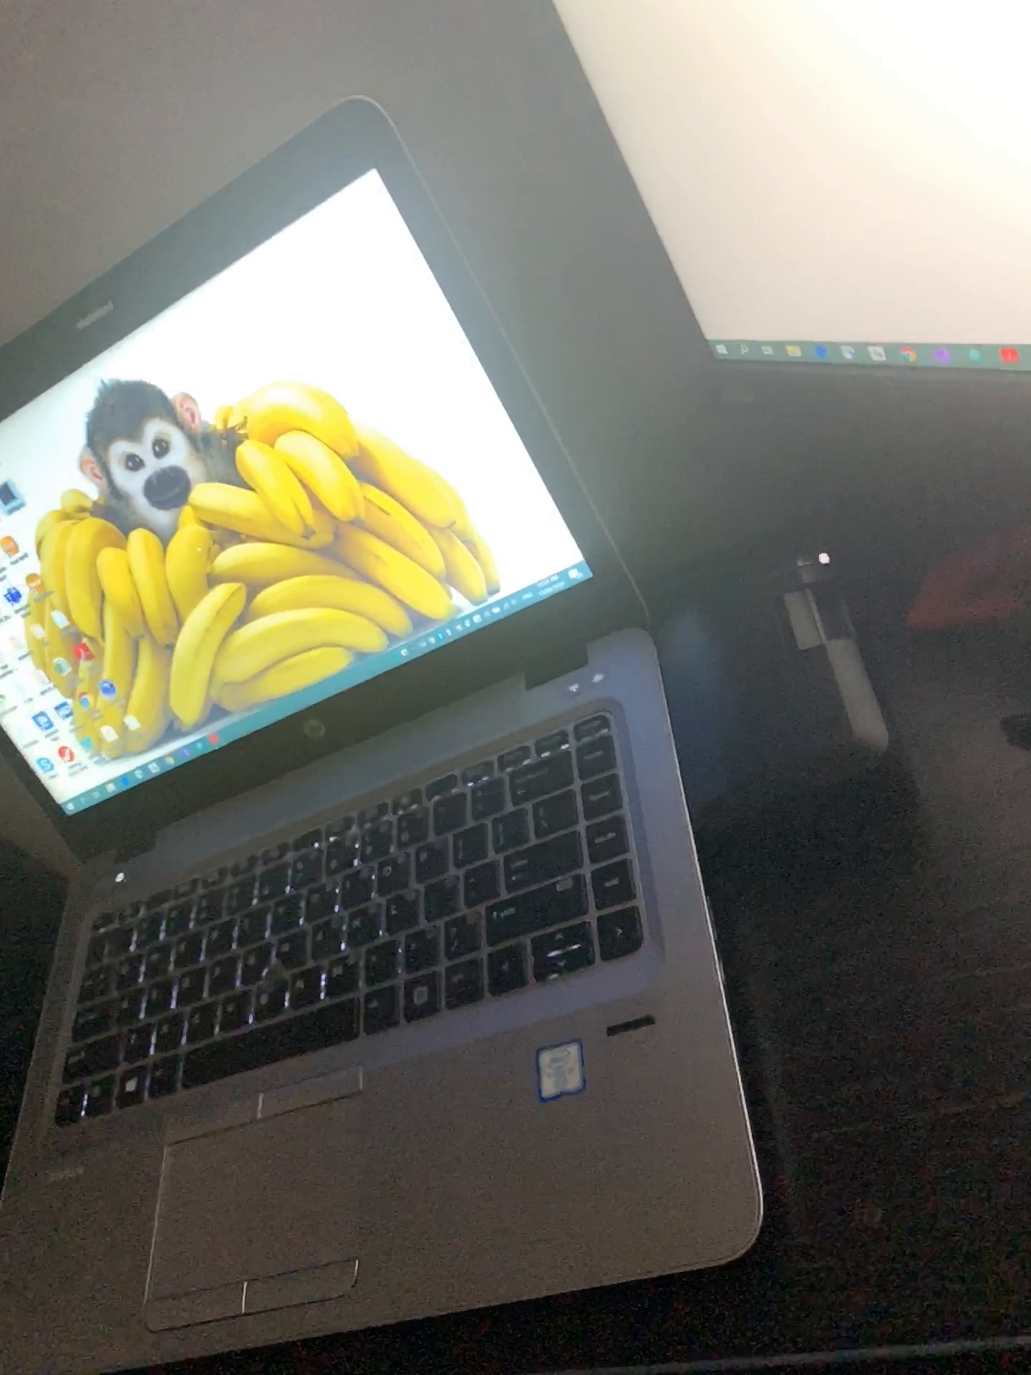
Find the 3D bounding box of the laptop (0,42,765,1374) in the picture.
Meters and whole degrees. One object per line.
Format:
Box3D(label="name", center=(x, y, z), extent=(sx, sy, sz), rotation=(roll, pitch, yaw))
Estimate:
Box3D(label="laptop", center=(-0.129, 0.018, 0.387), extent=(0.318, 0.191, 0.327), rotation=(-24, 45, 22))
